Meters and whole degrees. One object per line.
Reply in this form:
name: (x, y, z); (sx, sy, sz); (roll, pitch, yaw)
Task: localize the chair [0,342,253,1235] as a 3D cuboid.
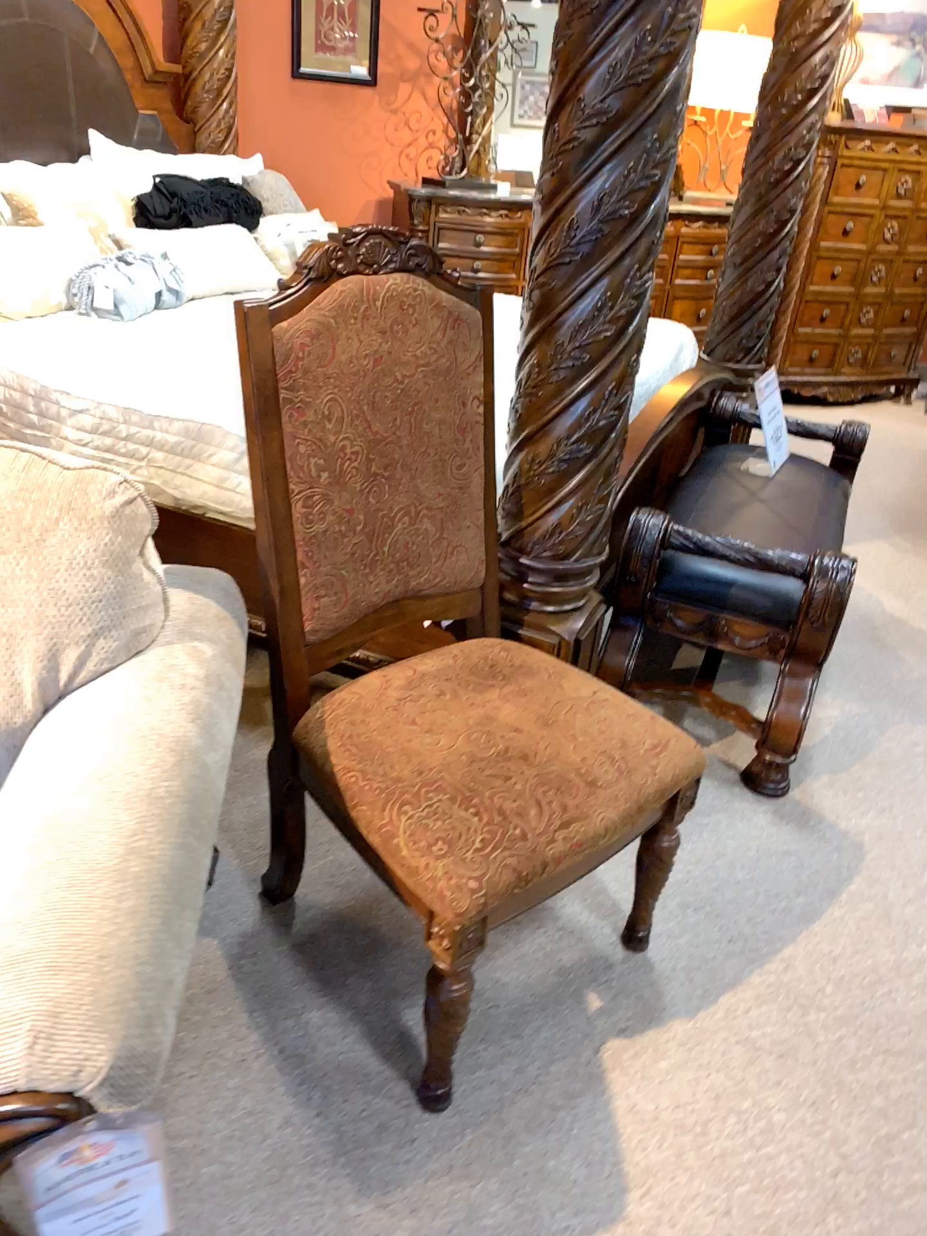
chair: (-0.773, 0.250, 1.136); (0.880, 0.864, 0.902); (3, 30, -5)

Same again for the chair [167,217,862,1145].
chair: (0.008, 0.045, 1.446); (0.591, 1.123, 0.639); (-20, 38, -38)
